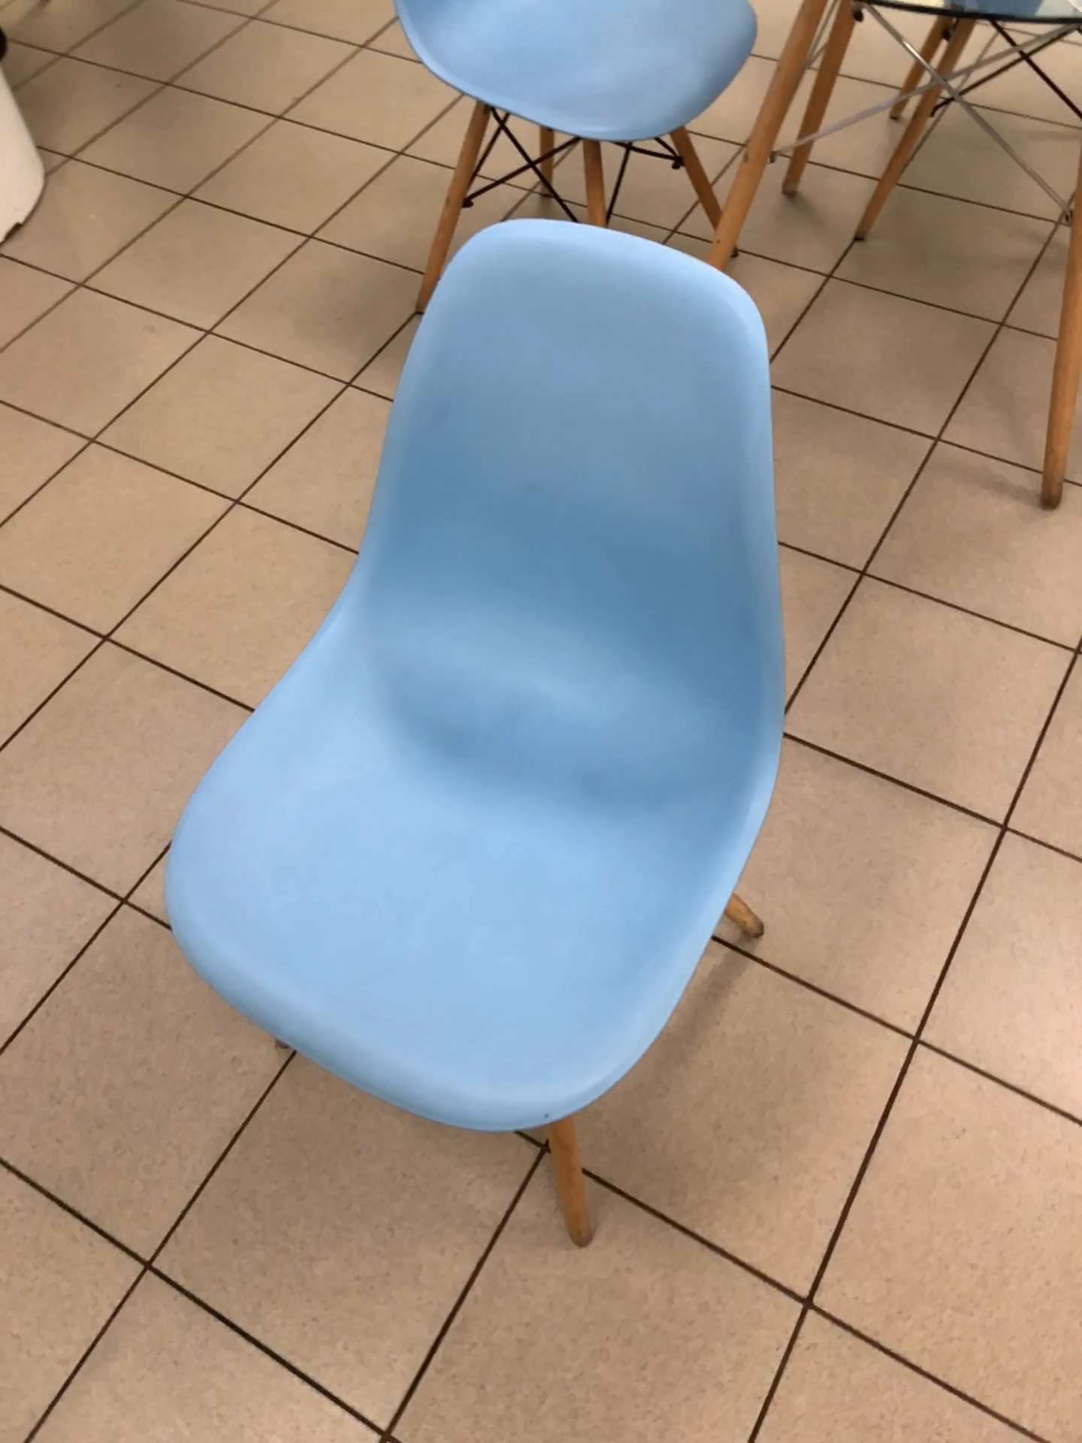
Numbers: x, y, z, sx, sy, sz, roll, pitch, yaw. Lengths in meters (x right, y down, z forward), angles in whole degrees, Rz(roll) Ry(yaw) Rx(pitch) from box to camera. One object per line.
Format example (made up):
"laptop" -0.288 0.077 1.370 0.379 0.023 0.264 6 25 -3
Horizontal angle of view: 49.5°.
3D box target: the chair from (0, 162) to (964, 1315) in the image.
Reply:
"chair" -0.042 0.073 1.049 0.471 0.777 0.571 24 61 19
